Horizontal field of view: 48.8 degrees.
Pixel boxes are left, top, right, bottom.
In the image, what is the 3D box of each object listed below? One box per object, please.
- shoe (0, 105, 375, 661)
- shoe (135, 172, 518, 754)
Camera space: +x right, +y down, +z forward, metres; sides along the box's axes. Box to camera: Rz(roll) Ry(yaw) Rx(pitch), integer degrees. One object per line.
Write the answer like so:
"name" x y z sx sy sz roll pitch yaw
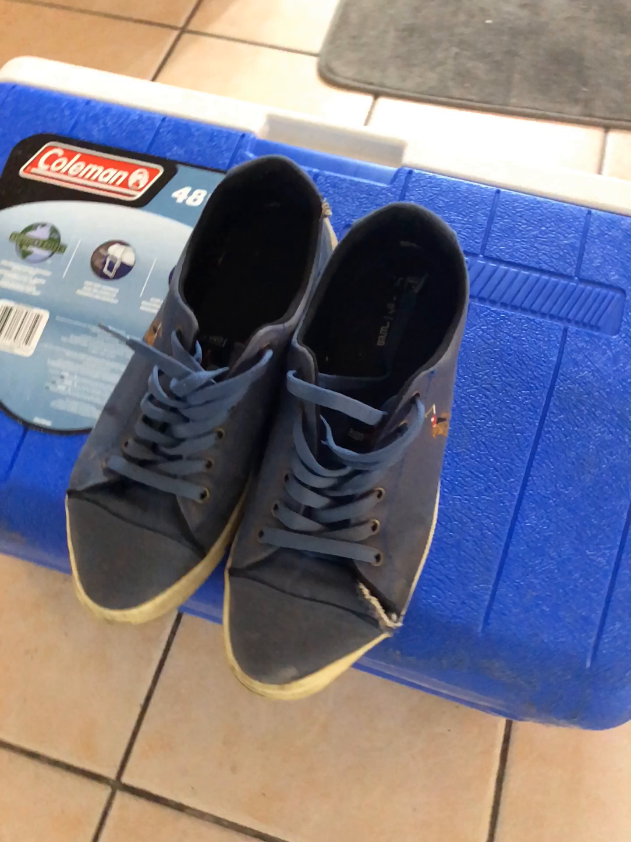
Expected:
"shoe" -0.067 -0.024 0.379 0.107 0.090 0.271 21 73 11
"shoe" 0.019 0.013 0.367 0.107 0.090 0.271 15 67 8
